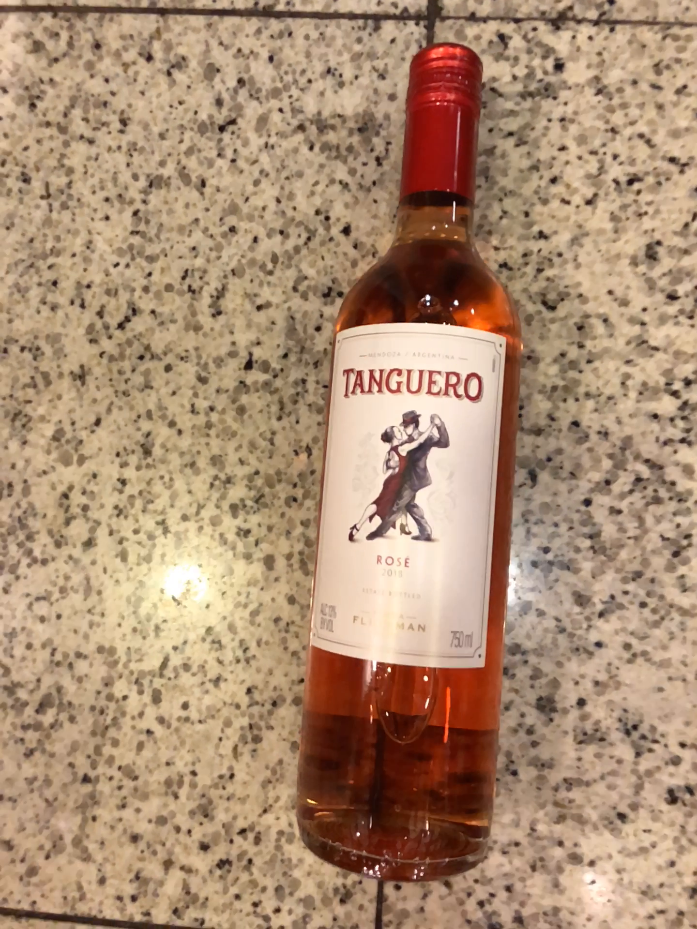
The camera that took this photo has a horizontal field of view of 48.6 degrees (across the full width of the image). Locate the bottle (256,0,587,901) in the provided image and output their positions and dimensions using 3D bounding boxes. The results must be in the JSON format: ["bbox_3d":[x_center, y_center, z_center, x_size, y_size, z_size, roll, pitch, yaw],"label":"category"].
[{"bbox_3d":[0.028,-0.024,0.286,0.090,0.060,0.320,4,86,4],"label":"bottle"}]
